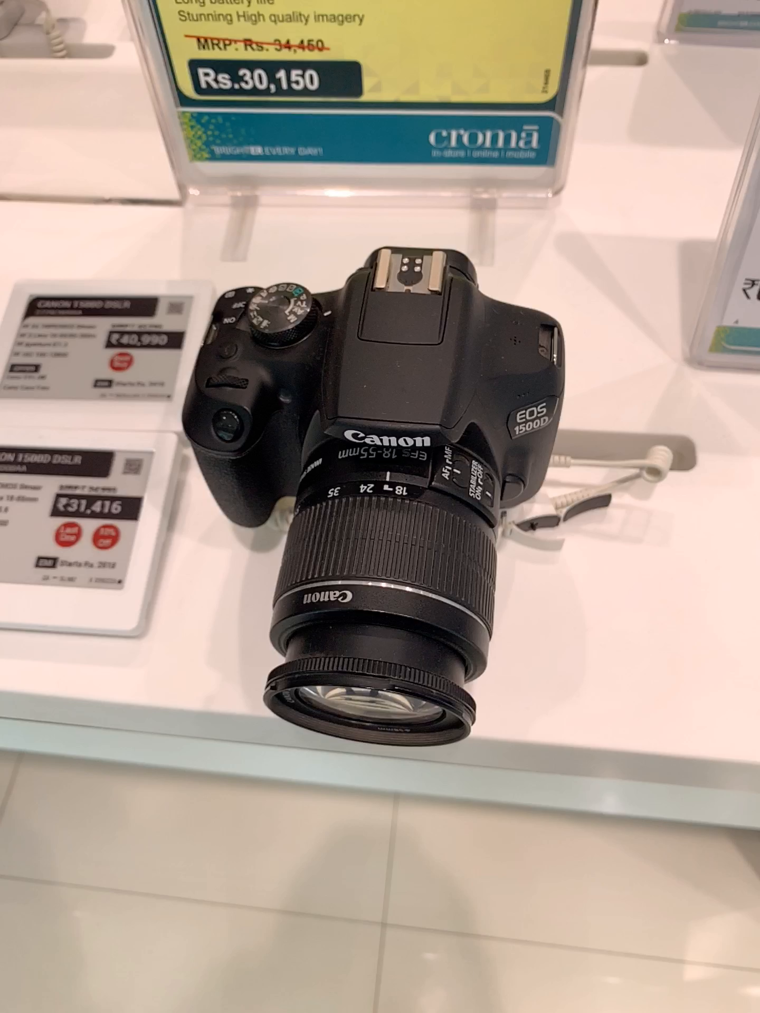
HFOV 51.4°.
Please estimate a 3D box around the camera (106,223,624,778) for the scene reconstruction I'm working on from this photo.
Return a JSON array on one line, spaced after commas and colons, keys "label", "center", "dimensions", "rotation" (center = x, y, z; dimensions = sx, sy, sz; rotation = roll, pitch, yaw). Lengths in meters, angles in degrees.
[{"label": "camera", "center": [0.005, -0.002, 0.238], "dimensions": [0.110, 0.090, 0.130], "rotation": [5, 59, 6]}]
